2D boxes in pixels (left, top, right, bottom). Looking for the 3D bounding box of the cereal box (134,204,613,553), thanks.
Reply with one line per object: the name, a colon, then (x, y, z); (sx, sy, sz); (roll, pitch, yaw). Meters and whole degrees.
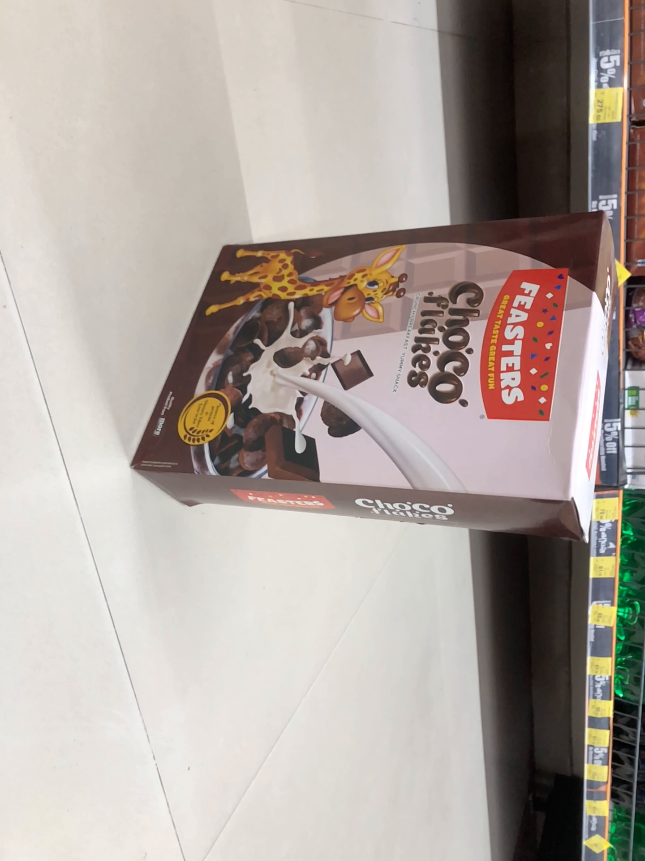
cereal box: (0.036, -0.038, 0.446); (0.060, 0.258, 0.190); (56, 43, -53)
